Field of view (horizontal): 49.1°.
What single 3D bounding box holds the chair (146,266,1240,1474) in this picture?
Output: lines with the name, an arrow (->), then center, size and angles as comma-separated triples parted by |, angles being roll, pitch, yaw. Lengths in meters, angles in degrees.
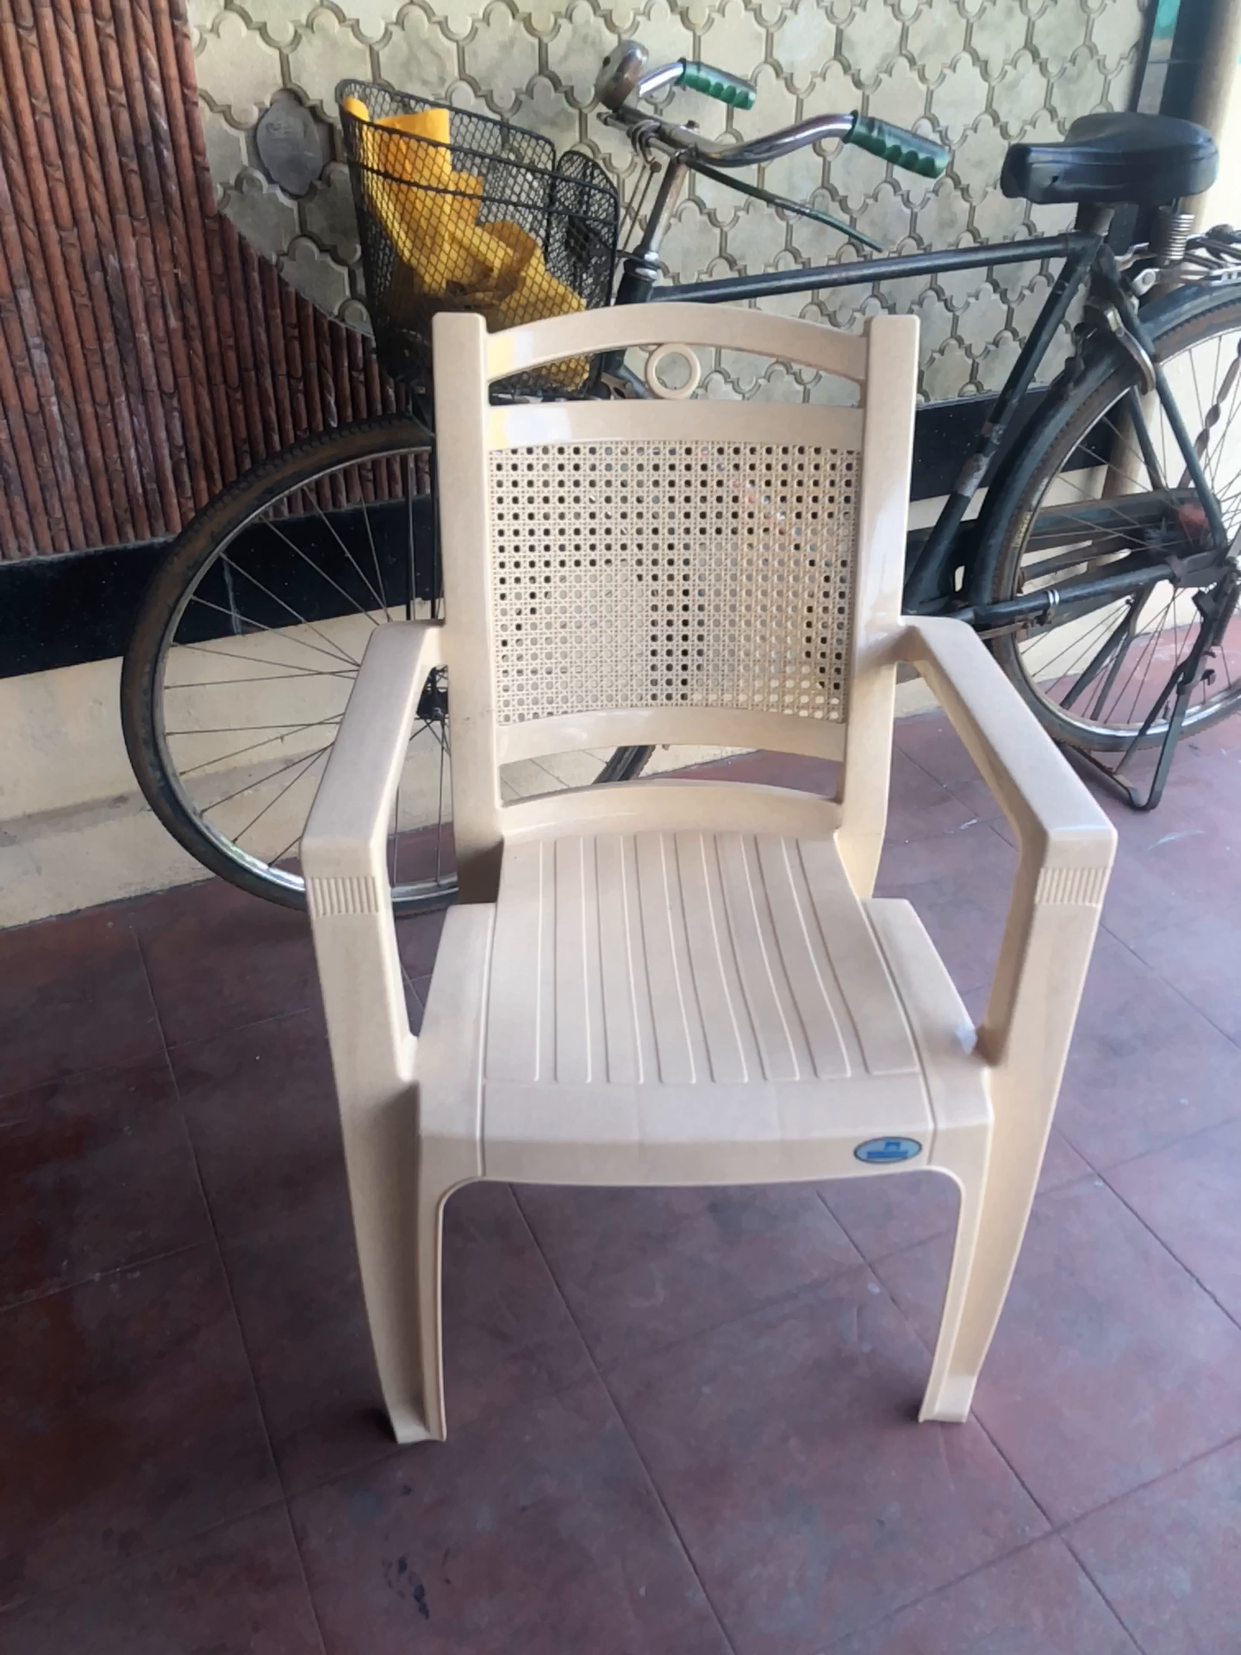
chair -> 0.056, 0.038, 1.130 | 0.590, 0.825, 0.553 | -1, 36, -2
